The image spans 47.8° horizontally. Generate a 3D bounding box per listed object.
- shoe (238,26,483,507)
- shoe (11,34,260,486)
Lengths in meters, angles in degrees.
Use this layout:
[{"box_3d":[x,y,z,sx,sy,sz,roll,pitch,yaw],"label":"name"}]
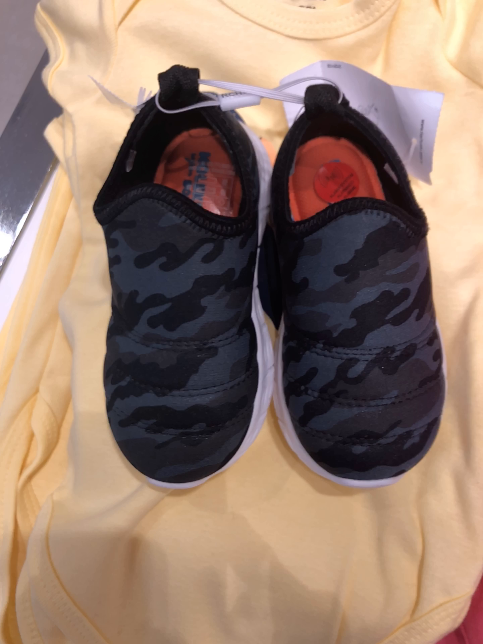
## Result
[{"box_3d":[0.042,-0.017,0.203,0.070,0.070,0.150,-6,77,0],"label":"shoe"},{"box_3d":[-0.029,-0.018,0.211,0.070,0.080,0.150,1,77,1],"label":"shoe"}]
